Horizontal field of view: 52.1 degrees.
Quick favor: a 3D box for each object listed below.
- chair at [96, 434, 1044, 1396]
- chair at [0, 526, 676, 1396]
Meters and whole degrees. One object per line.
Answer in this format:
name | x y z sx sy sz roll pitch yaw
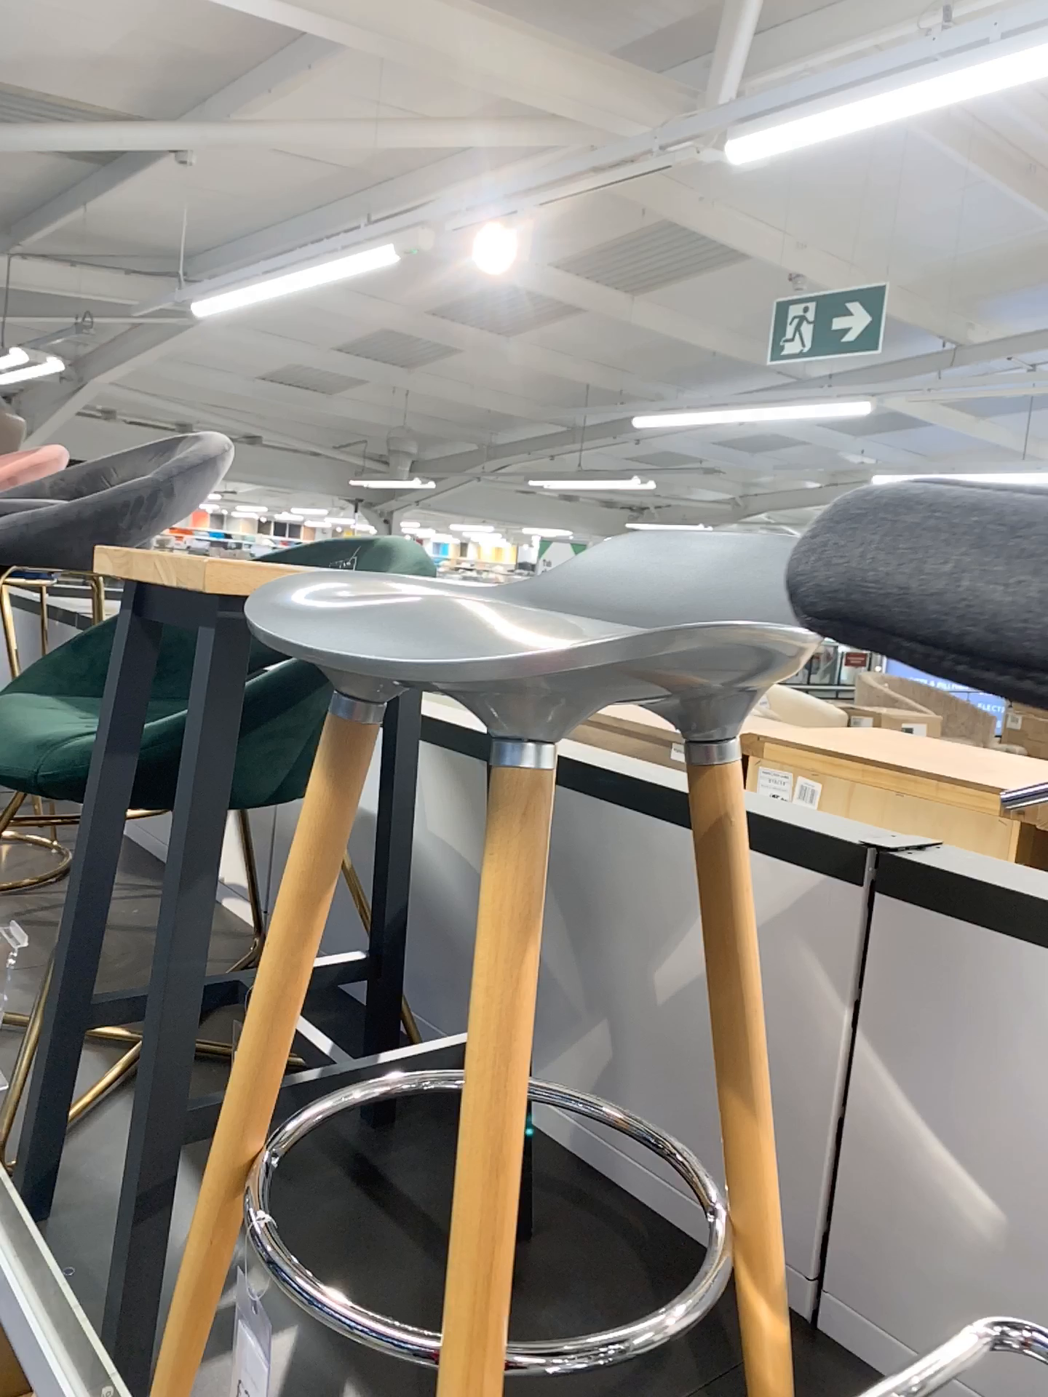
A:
chair | 0.010 0.221 0.809 0.461 0.739 0.443 2 7 -39
chair | -0.213 0.199 1.130 0.501 0.689 0.443 1 7 -41
